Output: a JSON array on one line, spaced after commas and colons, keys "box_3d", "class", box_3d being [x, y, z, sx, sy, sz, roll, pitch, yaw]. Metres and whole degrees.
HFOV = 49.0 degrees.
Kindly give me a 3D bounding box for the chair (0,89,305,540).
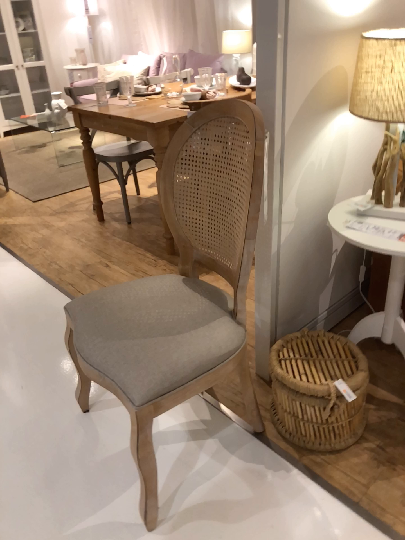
[{"box_3d": [-0.143, 0.070, 1.231, 0.521, 0.963, 0.593, -20, 33, -27], "class": "chair"}]
